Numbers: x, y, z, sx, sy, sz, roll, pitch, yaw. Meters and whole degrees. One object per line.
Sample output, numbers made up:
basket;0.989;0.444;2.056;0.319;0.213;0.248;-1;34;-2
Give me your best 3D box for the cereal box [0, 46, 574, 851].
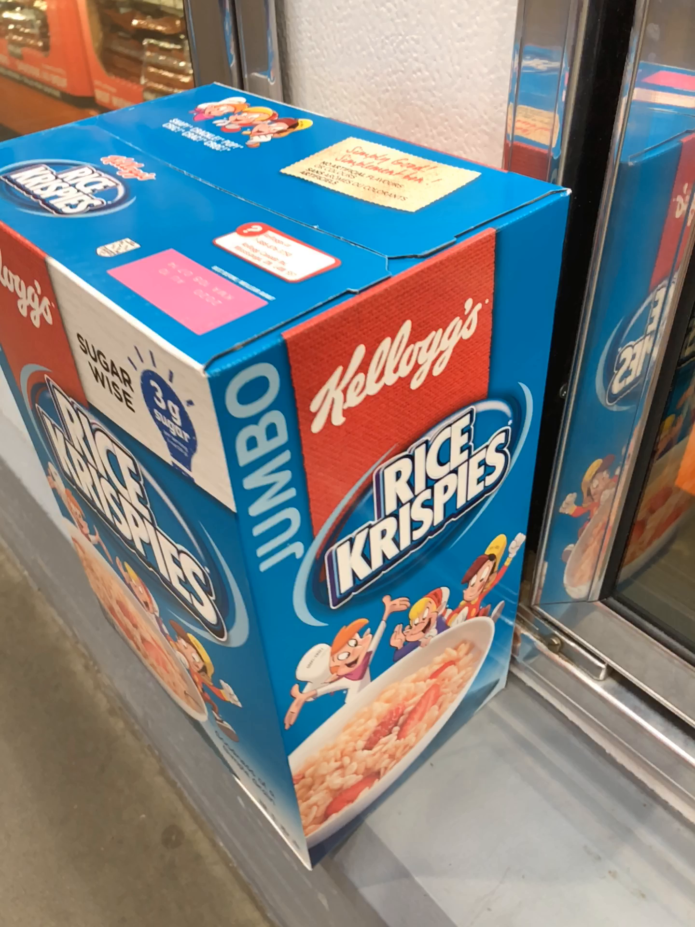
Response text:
cereal box;-0.048;-0.009;0.409;0.160;0.319;0.241;-33;48;-27
